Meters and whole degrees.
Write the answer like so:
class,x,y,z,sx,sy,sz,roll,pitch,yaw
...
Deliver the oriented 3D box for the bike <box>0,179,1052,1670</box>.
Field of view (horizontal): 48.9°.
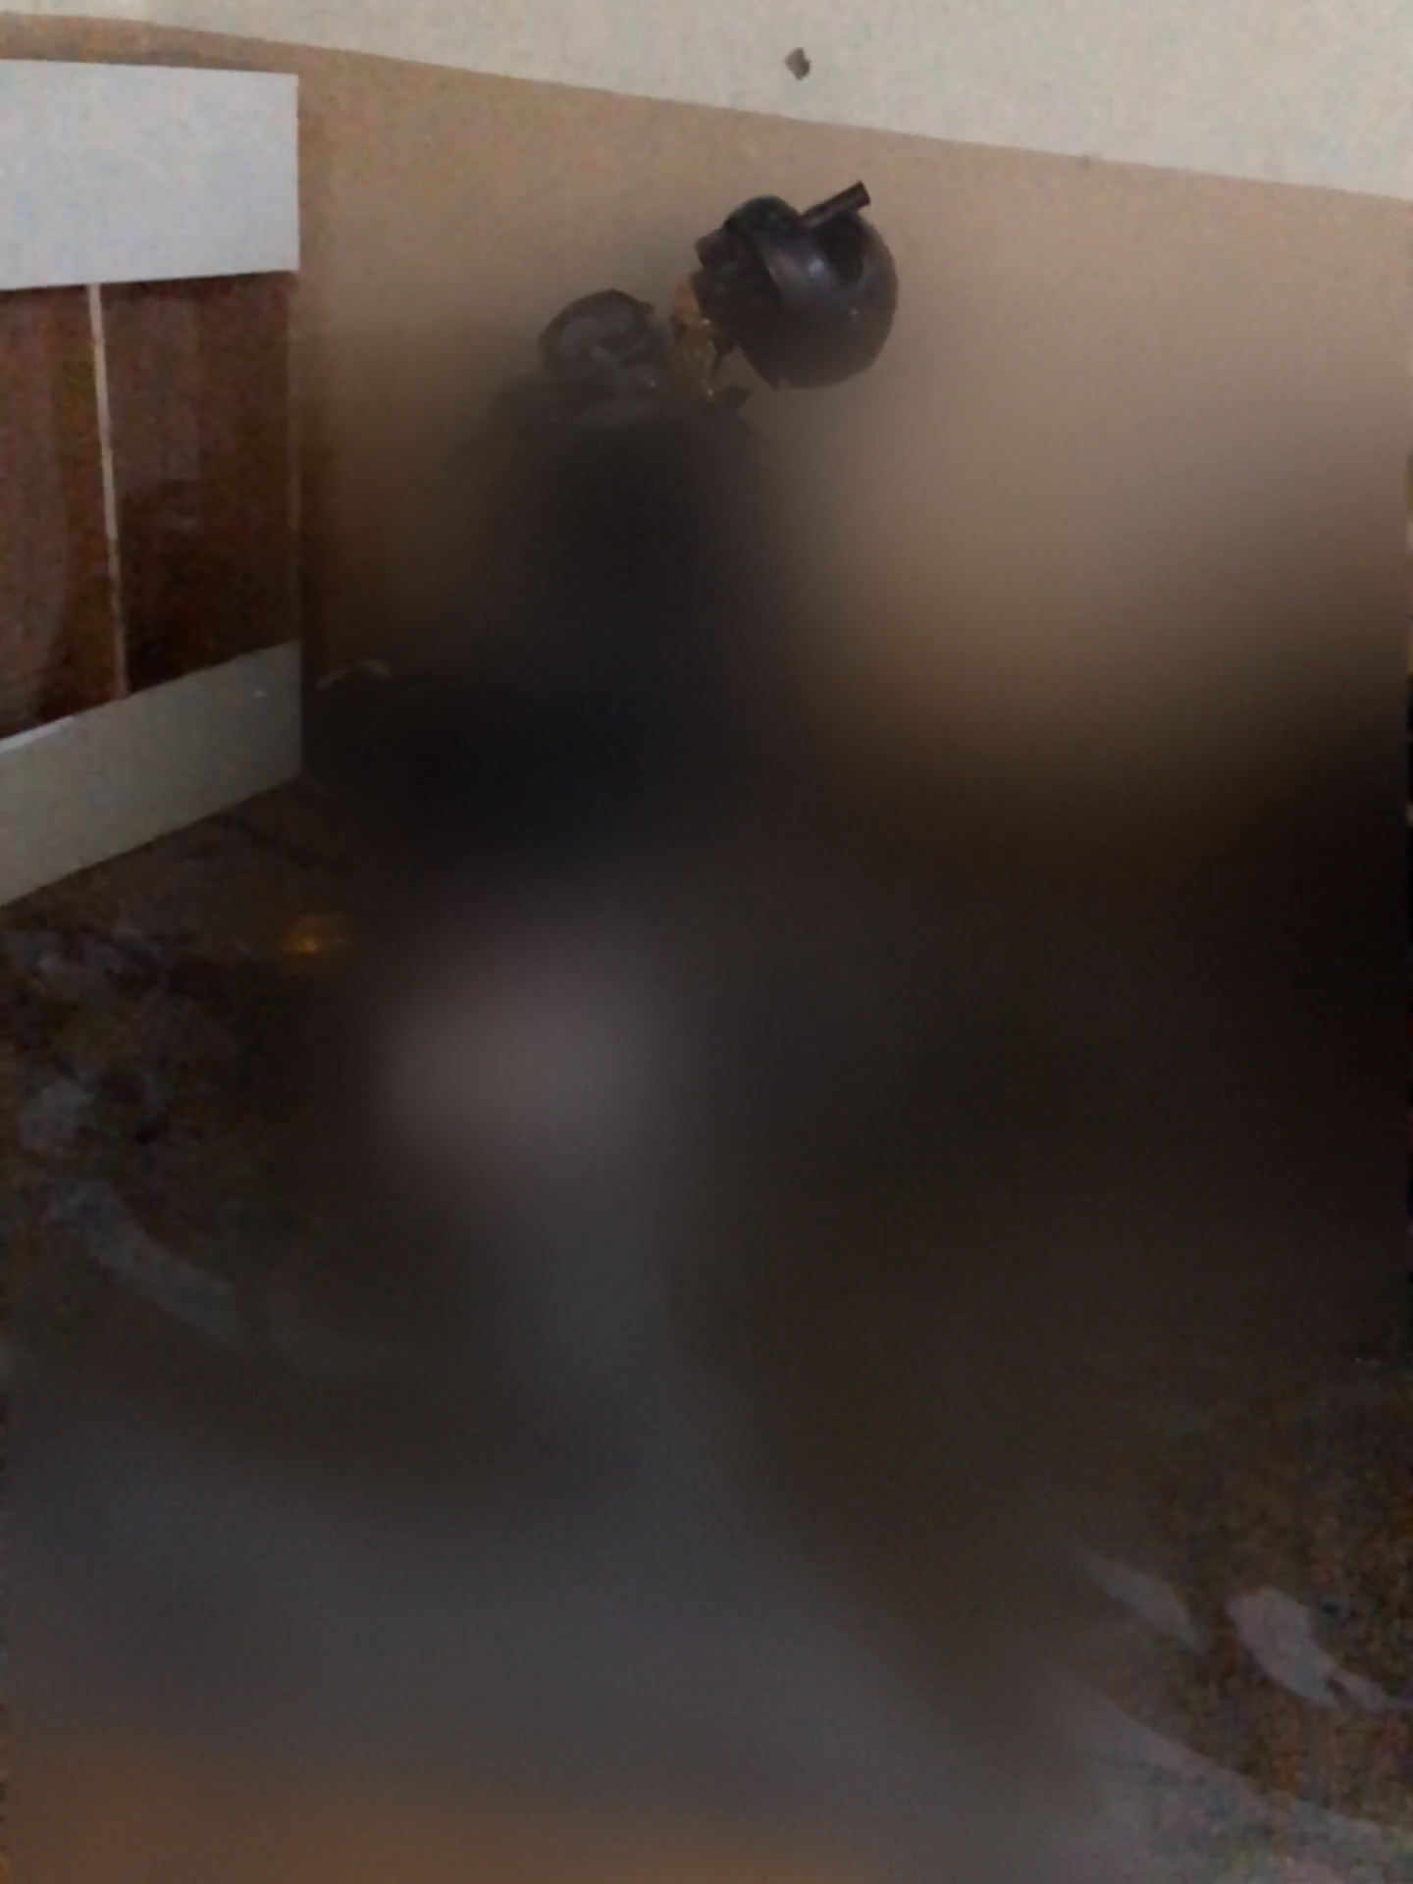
class,x,y,z,sx,sy,sz,roll,pitch,yaw
bike,-0.190,-0.247,1.966,0.717,1.179,1.712,7,28,-1
